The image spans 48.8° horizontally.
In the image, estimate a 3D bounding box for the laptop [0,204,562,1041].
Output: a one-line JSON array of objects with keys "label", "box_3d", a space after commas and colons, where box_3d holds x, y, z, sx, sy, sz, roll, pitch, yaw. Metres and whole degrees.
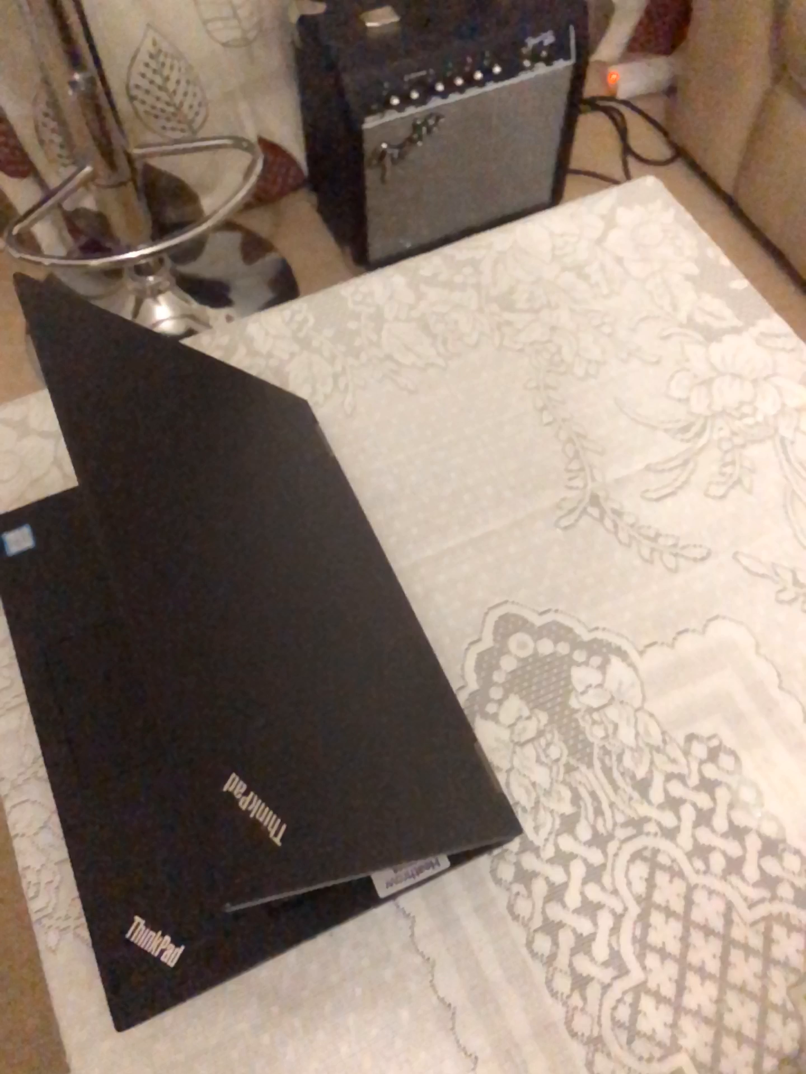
[{"label": "laptop", "box_3d": [-0.105, 0.033, 0.443, 0.220, 0.174, 0.310, -22, 62, -10]}]
